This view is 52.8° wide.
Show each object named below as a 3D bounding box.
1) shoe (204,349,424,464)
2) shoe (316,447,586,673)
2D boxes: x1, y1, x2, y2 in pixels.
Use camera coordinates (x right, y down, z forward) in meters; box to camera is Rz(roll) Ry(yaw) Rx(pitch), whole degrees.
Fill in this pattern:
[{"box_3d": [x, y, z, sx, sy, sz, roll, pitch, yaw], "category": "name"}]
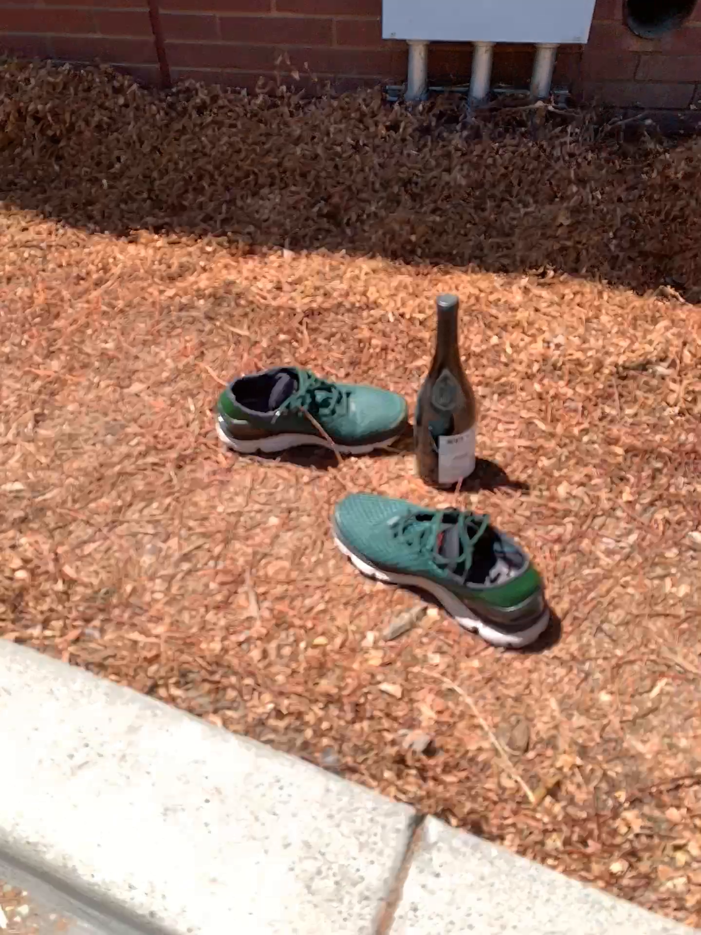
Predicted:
[{"box_3d": [-0.051, -0.091, 1.043, 0.300, 0.099, 0.131, -2, 47, -1], "category": "shoe"}, {"box_3d": [0.113, 0.103, 0.858, 0.291, 0.099, 0.120, 27, 53, 24], "category": "shoe"}]
